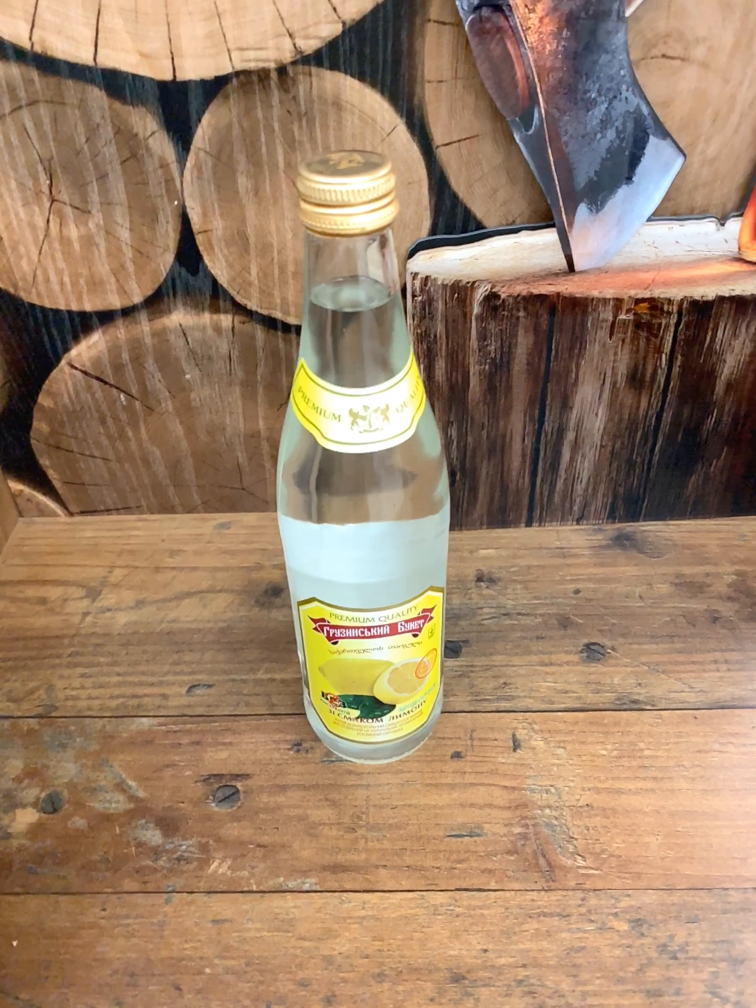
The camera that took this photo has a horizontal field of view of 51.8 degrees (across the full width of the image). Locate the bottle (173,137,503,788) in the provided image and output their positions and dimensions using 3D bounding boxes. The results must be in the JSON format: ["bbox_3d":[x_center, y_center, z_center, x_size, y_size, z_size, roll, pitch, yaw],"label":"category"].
[{"bbox_3d":[-0.005,0.004,0.261,0.070,0.219,0.070,-1,40,1],"label":"bottle"}]

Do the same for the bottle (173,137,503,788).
[{"bbox_3d":[-0.005,0.004,0.261,0.070,0.219,0.070,-1,40,1],"label":"bottle"}]
